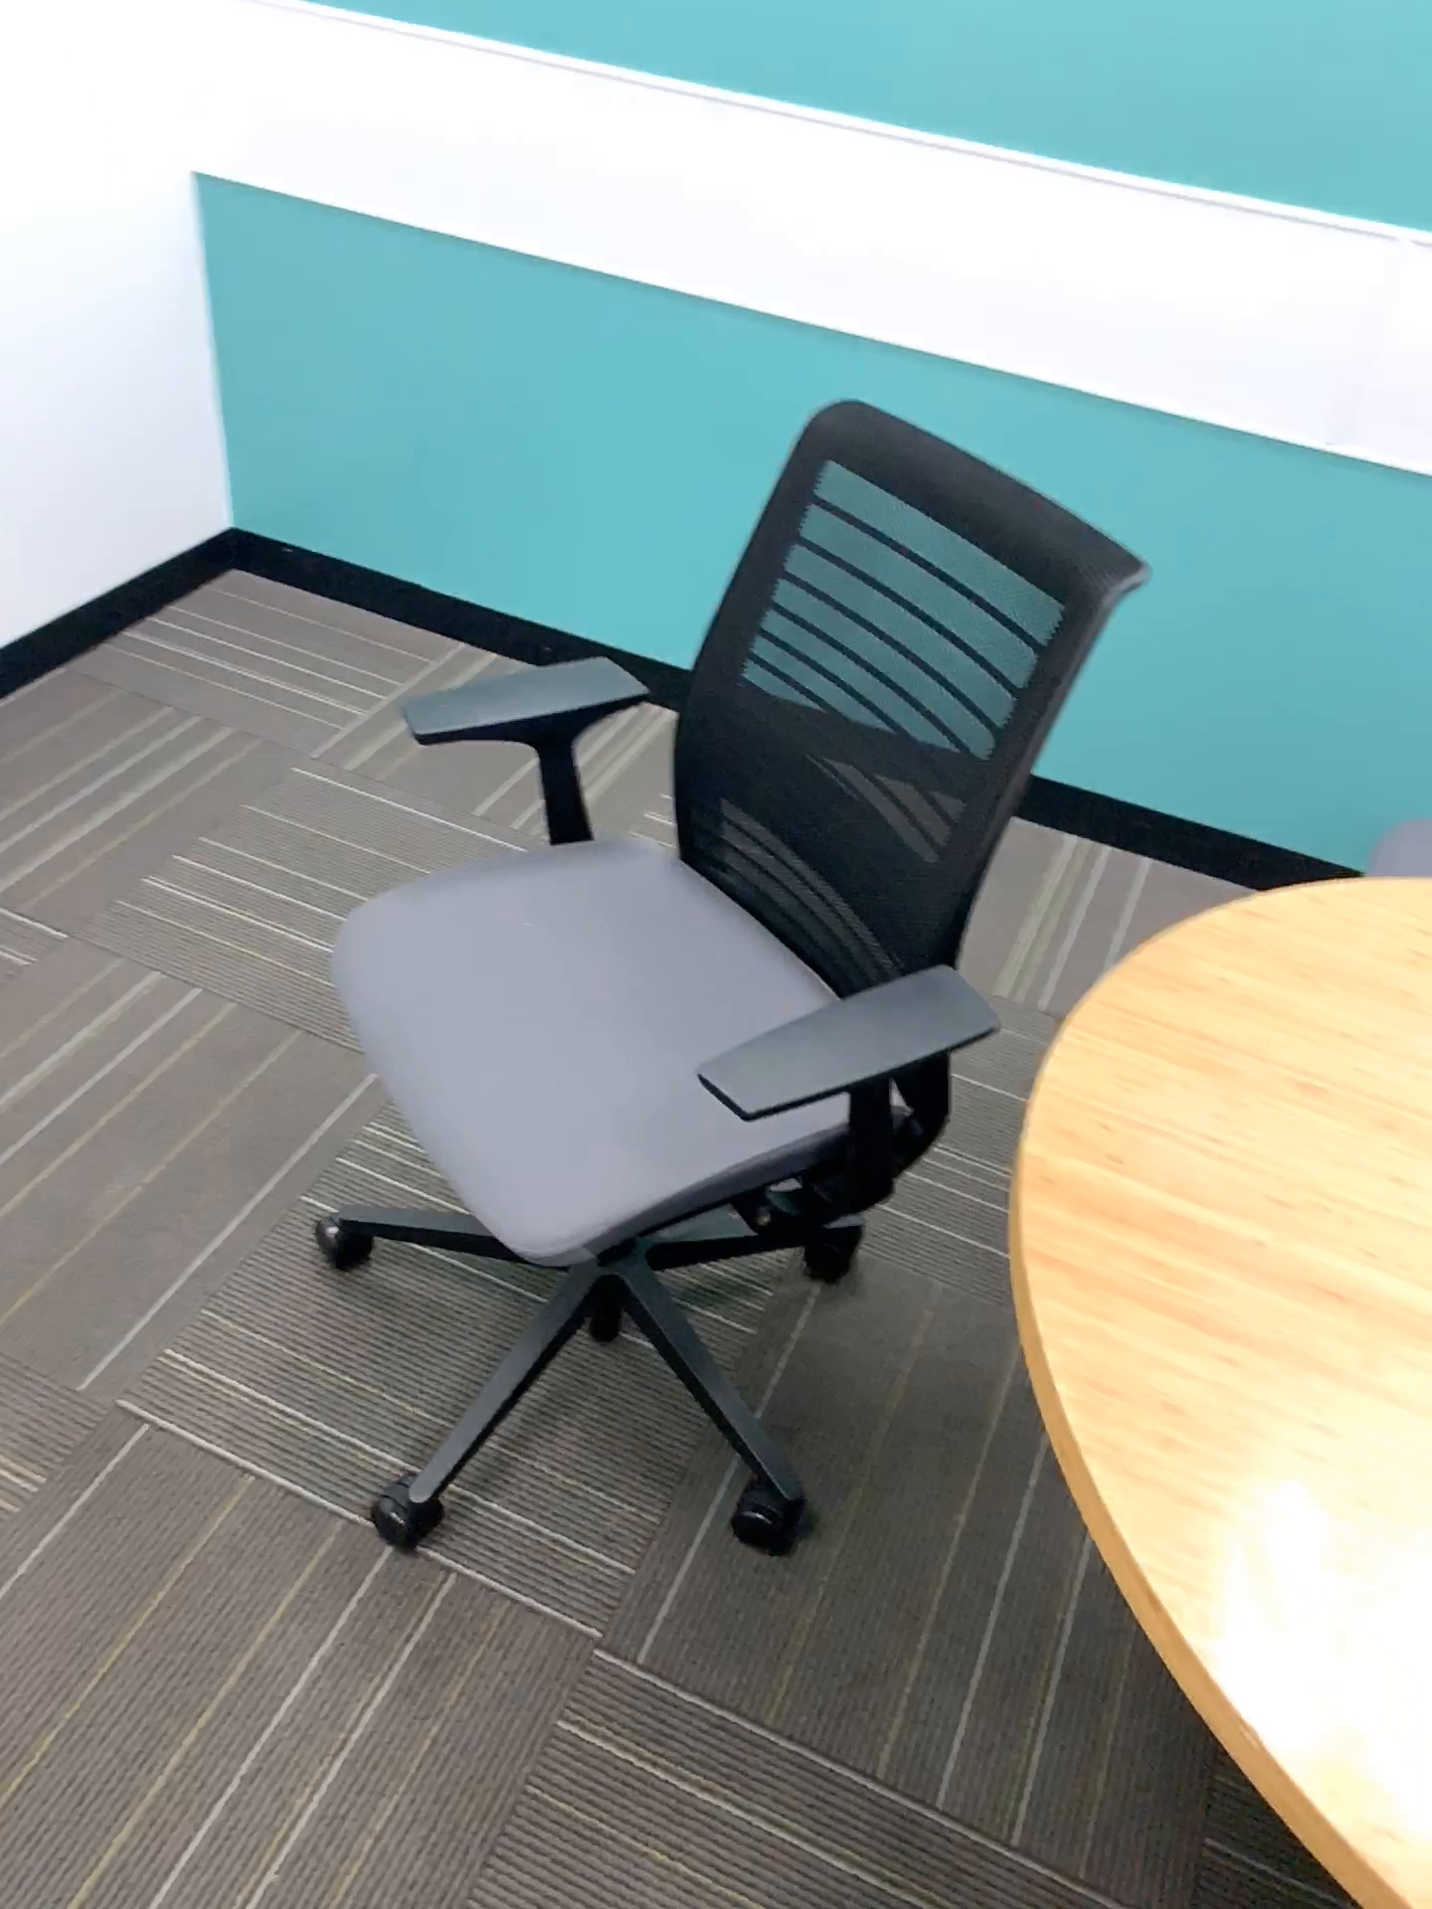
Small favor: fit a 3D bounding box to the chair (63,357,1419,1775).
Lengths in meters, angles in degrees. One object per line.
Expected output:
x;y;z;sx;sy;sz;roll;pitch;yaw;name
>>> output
-0.030;0.053;1.499;0.841;0.984;0.733;-22;47;-32;chair
